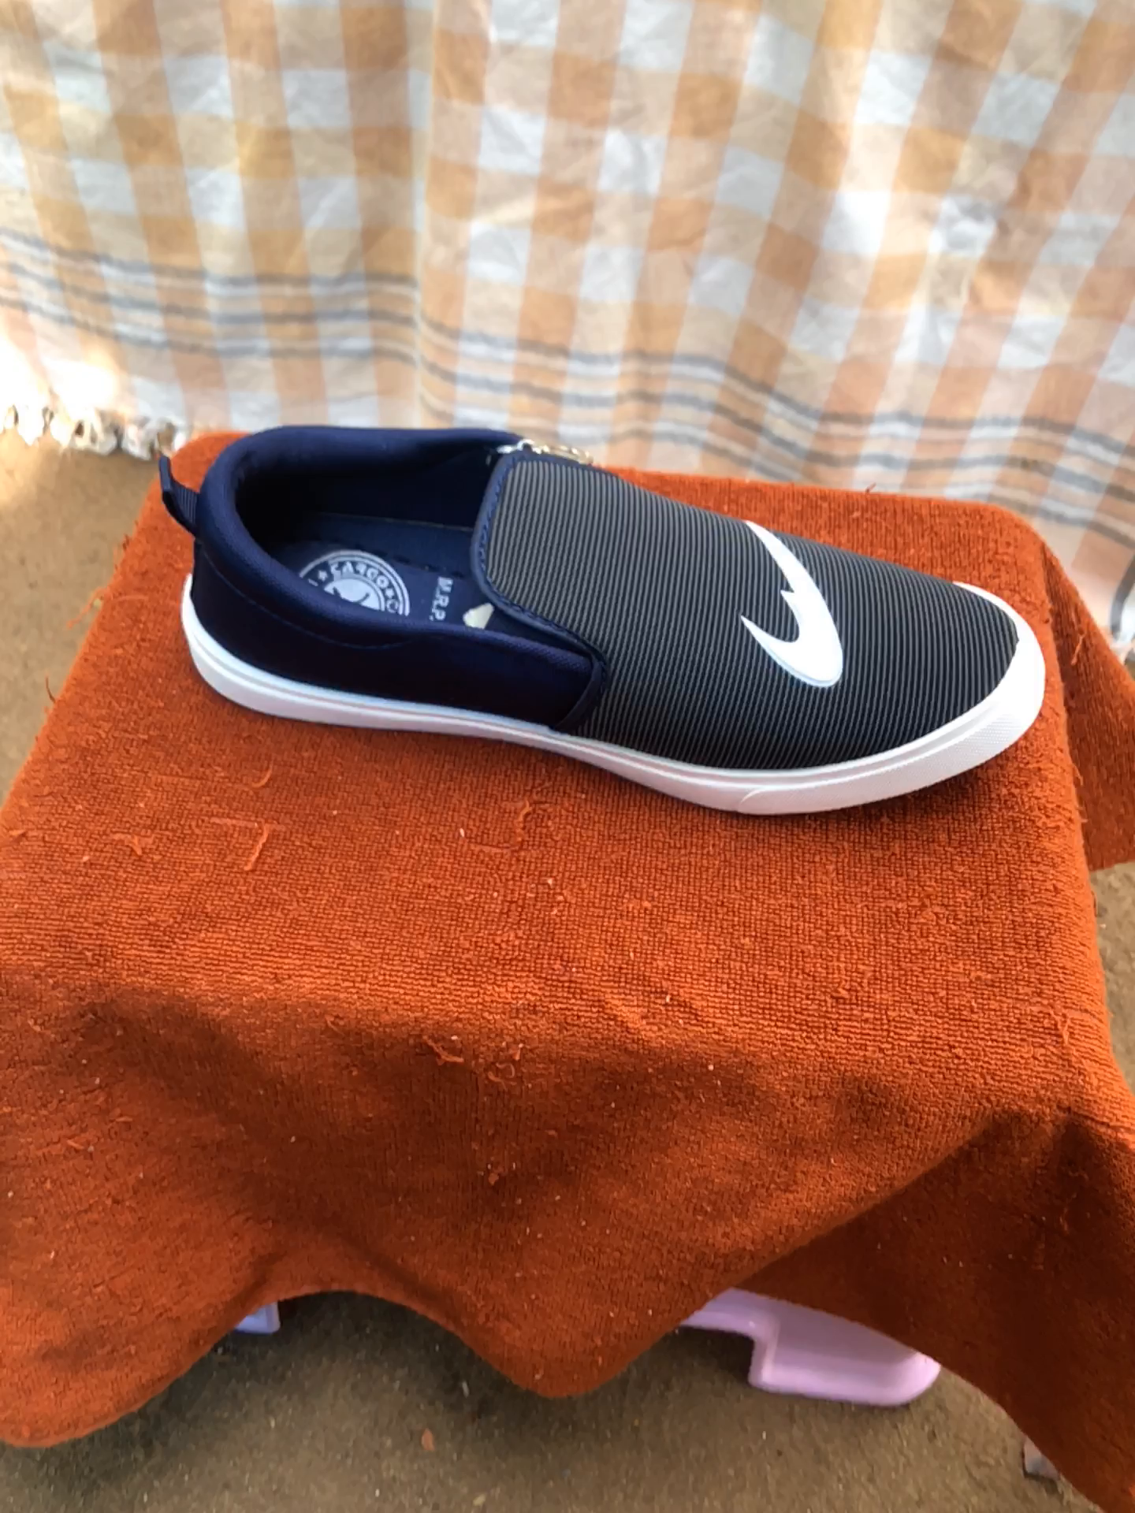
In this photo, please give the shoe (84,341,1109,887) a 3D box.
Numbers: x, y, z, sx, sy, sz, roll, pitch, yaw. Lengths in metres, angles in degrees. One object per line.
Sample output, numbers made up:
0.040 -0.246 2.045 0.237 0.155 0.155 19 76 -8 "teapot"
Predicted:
0.012 -0.049 0.423 0.300 0.080 0.100 12 53 3 "shoe"
